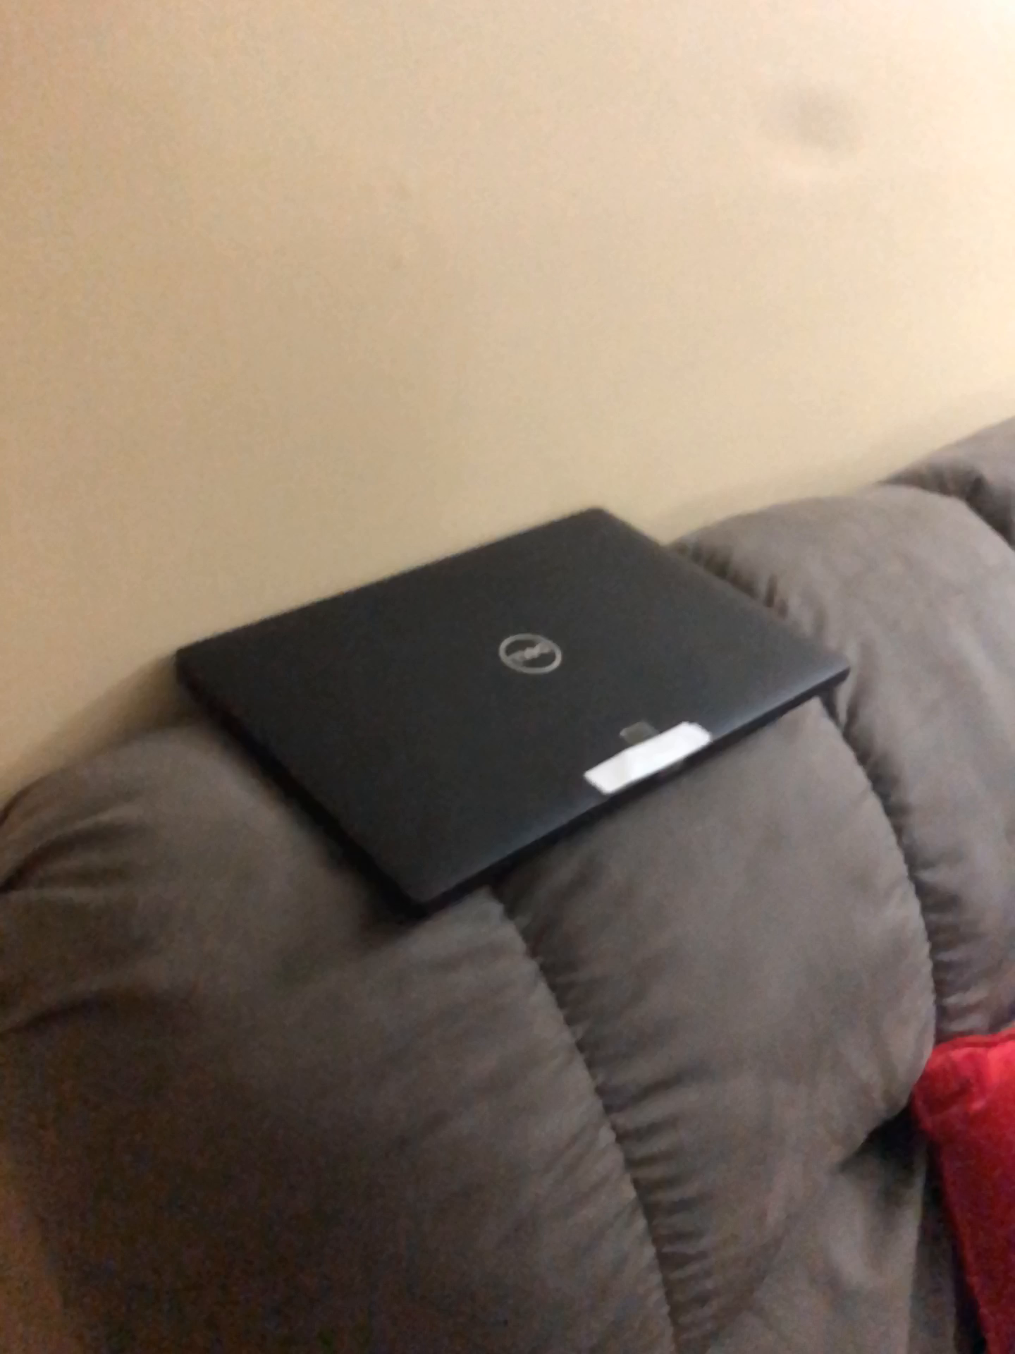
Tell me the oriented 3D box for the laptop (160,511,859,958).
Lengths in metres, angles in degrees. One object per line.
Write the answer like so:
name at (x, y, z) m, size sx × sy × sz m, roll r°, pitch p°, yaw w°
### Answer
laptop at (0.011, 0.004, 0.643) m, size 0.326 × 0.030 × 0.215 m, roll -23°, pitch 47°, yaw -35°
